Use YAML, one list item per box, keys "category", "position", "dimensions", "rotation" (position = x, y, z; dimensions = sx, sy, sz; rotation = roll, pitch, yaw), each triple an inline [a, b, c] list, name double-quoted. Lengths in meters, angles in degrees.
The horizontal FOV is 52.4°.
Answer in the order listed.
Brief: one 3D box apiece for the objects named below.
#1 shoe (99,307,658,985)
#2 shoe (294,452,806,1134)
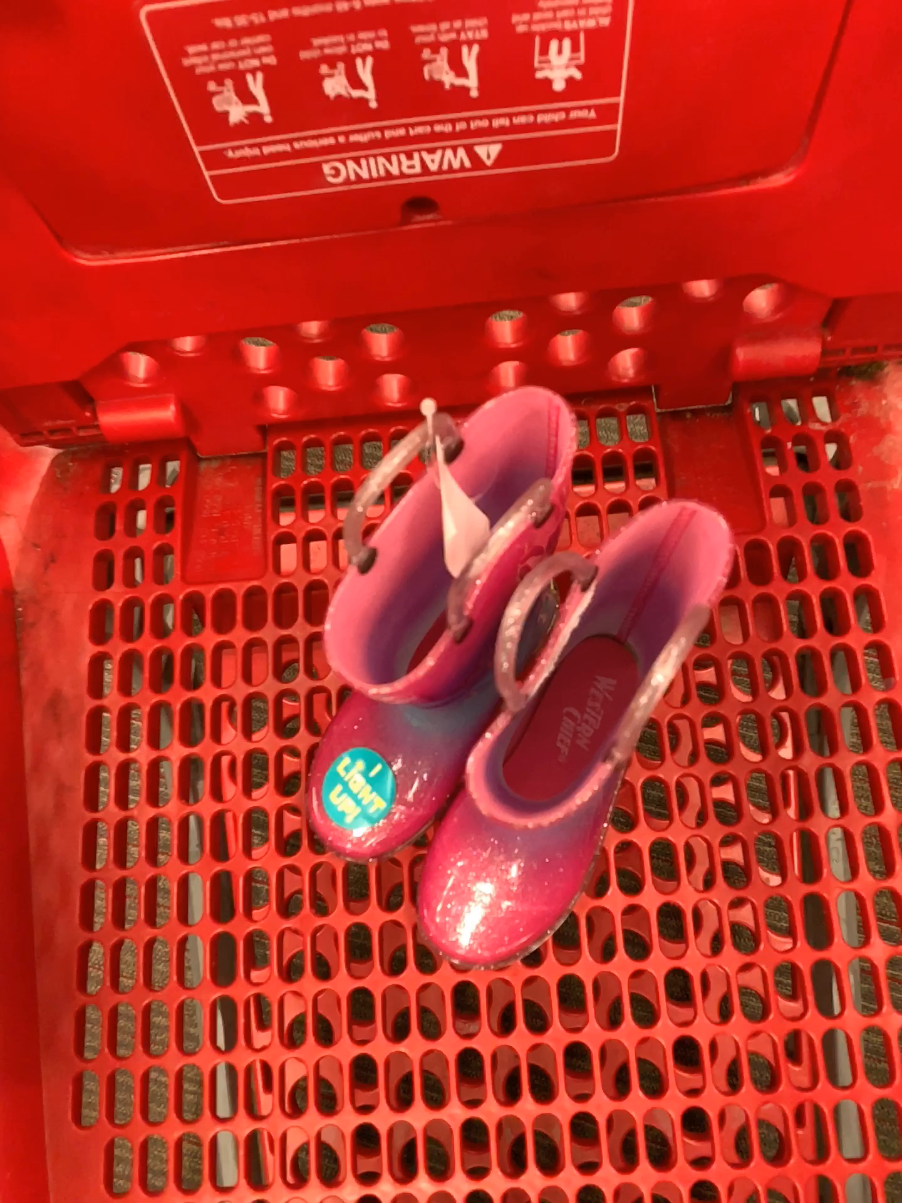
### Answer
- category: "shoe"
  position: [-0.015, 0.020, 0.345]
  dimensions: [0.070, 0.140, 0.200]
  rotation: [32, 83, 10]
- category: "shoe"
  position: [0.037, 0.064, 0.343]
  dimensions: [0.070, 0.140, 0.190]
  rotation: [29, 83, 9]
